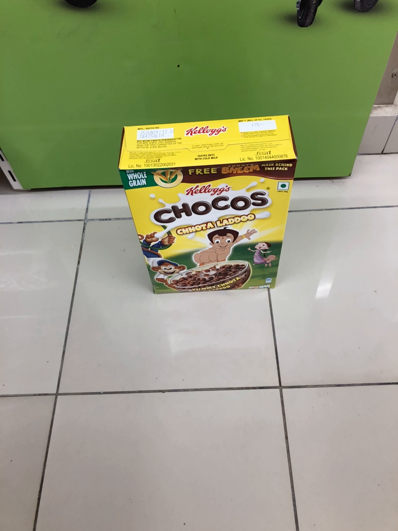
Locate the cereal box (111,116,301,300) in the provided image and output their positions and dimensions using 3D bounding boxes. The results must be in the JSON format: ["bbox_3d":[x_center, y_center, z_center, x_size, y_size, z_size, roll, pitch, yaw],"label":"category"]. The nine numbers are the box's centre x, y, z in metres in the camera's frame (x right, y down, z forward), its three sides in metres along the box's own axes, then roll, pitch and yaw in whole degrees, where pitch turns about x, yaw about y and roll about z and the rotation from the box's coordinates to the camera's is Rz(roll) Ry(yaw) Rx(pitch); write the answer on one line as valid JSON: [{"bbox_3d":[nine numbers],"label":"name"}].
[{"bbox_3d":[0.011,-0.055,0.564,0.190,0.259,0.070,-3,56,1],"label":"cereal box"}]
